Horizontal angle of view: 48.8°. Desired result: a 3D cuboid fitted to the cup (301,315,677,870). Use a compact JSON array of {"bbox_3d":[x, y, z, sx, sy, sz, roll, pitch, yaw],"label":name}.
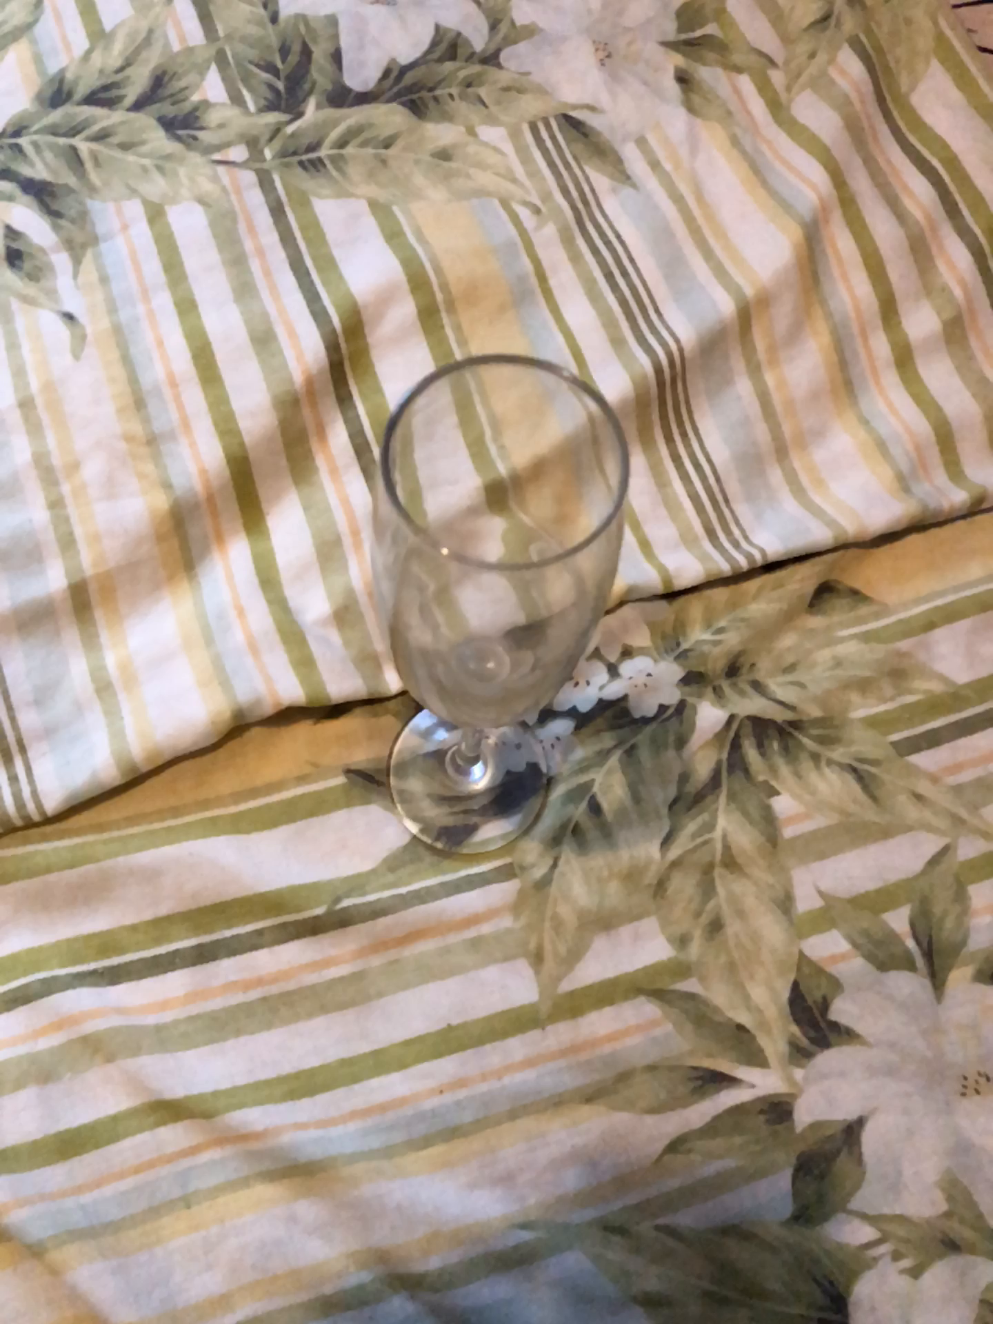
[{"bbox_3d":[-0.006,0.002,0.323,0.071,0.218,0.082,0,70,-2],"label":"cup"}]
